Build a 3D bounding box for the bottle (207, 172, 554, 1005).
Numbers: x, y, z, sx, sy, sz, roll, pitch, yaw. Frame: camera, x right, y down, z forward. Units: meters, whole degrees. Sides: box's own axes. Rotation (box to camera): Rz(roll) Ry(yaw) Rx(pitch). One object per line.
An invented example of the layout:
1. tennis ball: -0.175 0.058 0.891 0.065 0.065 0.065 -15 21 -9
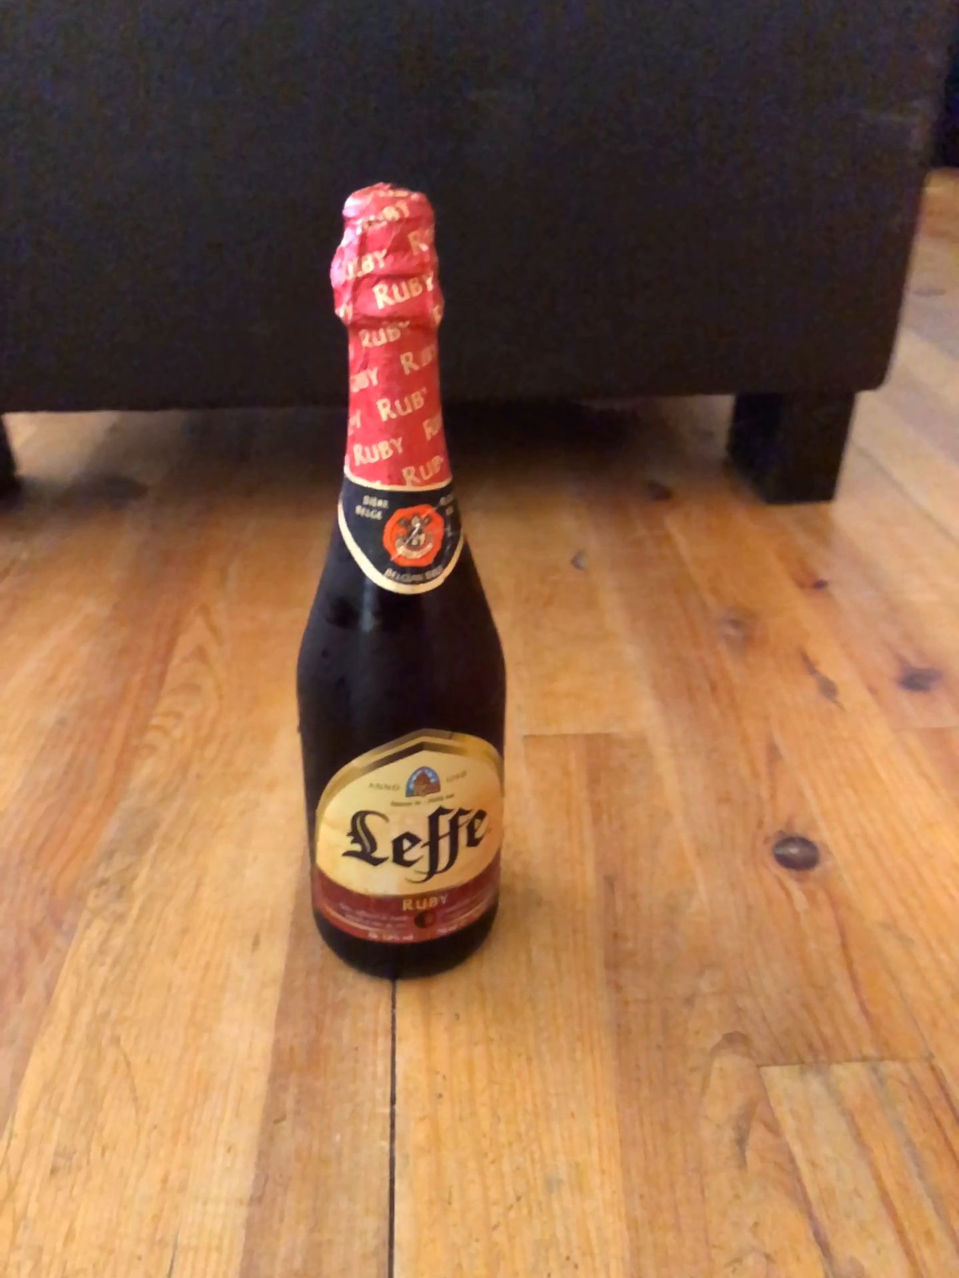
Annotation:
1. bottle: -0.032 -0.007 0.387 0.090 0.288 0.090 0 30 0
